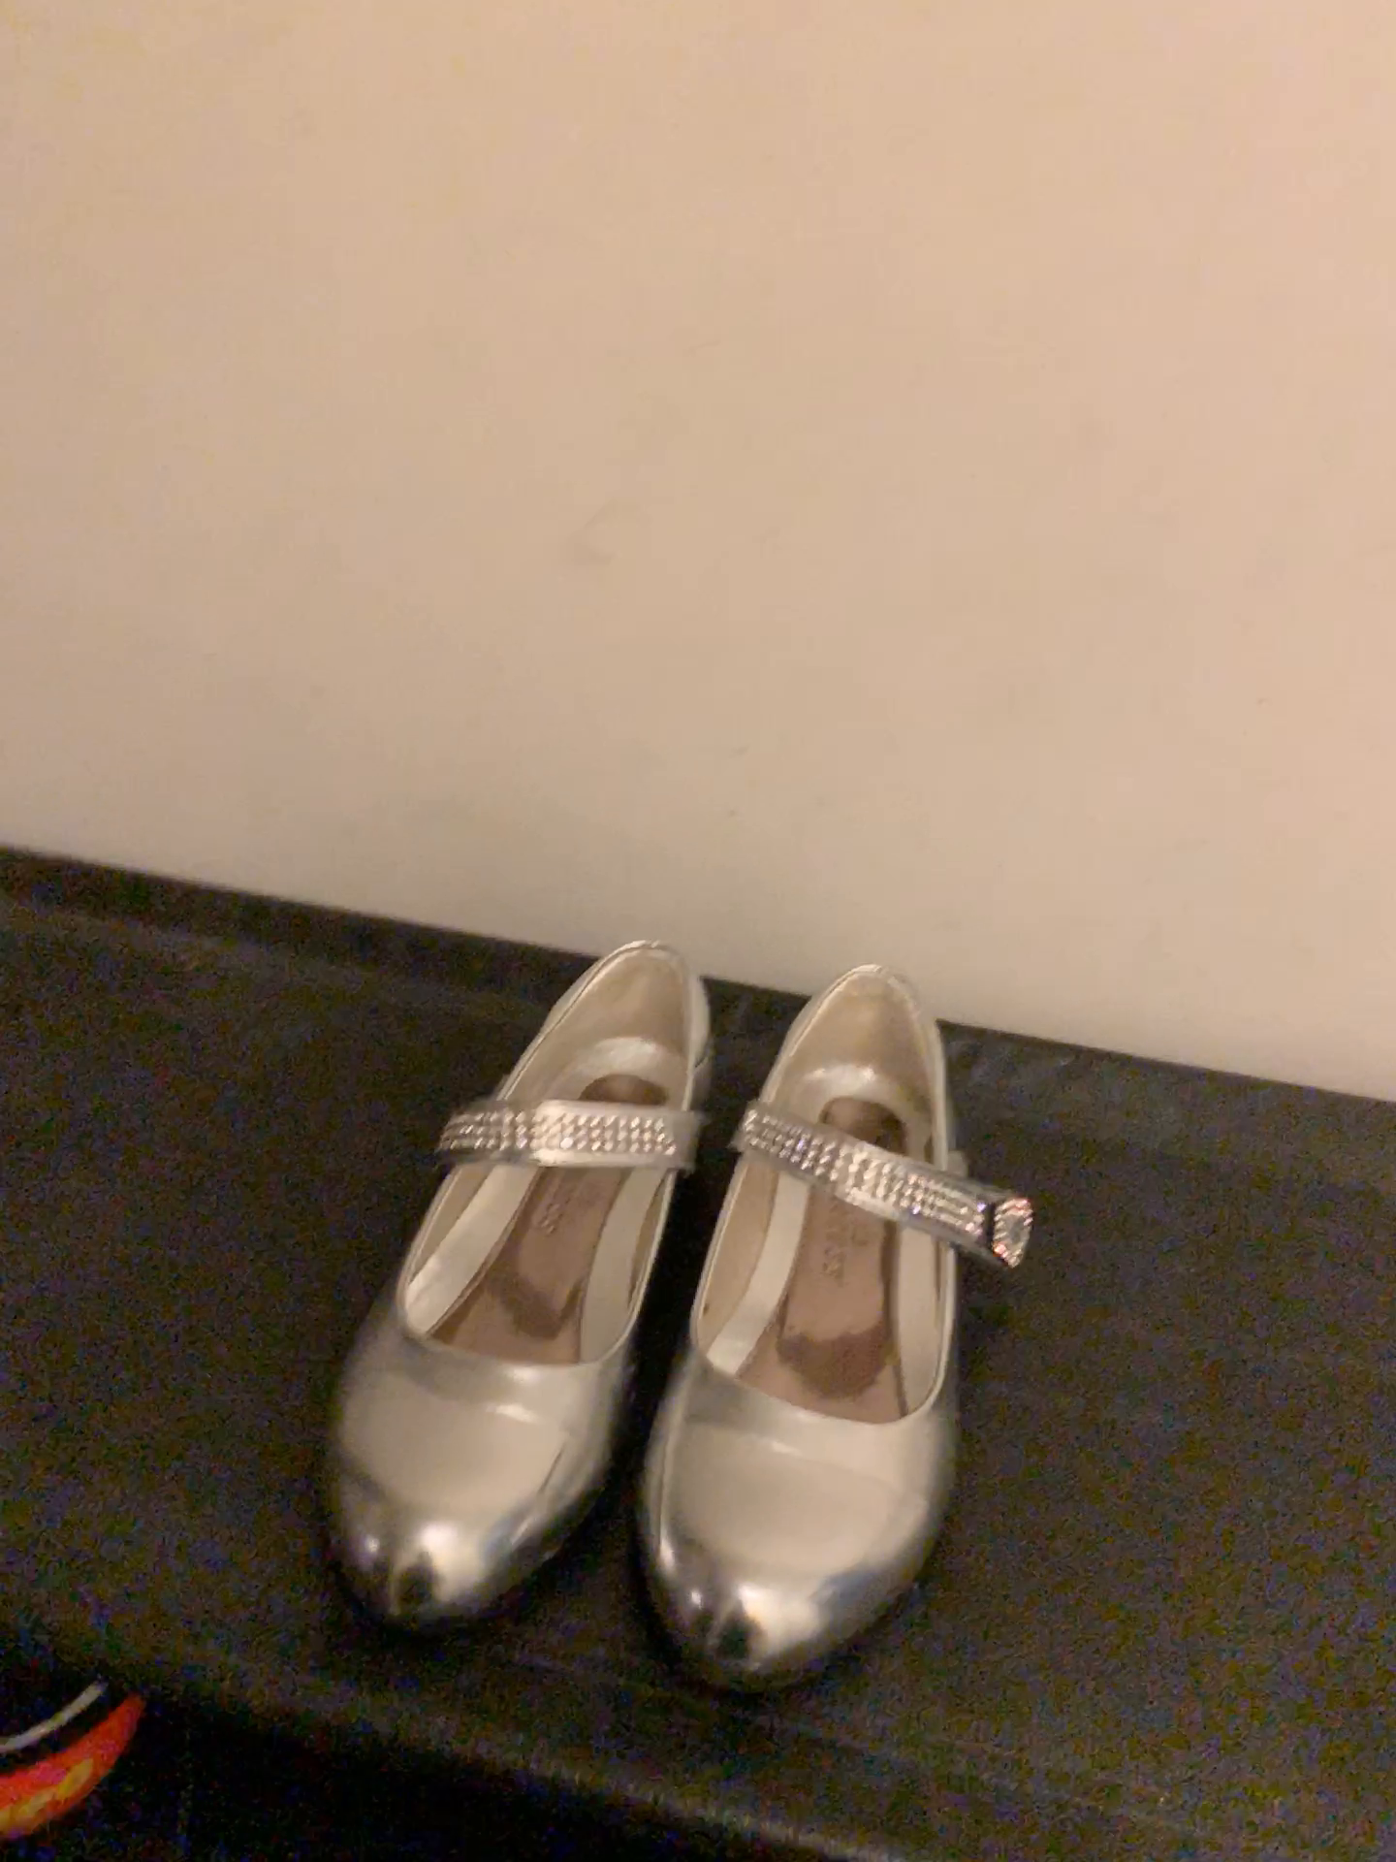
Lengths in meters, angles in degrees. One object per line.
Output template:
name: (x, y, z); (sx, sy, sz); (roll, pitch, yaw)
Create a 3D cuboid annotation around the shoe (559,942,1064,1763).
shoe: (0.040, 0.095, 0.382); (0.090, 0.089, 0.182); (8, 34, 14)

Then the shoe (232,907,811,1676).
shoe: (-0.033, 0.084, 0.398); (0.090, 0.089, 0.182); (8, 34, 14)
